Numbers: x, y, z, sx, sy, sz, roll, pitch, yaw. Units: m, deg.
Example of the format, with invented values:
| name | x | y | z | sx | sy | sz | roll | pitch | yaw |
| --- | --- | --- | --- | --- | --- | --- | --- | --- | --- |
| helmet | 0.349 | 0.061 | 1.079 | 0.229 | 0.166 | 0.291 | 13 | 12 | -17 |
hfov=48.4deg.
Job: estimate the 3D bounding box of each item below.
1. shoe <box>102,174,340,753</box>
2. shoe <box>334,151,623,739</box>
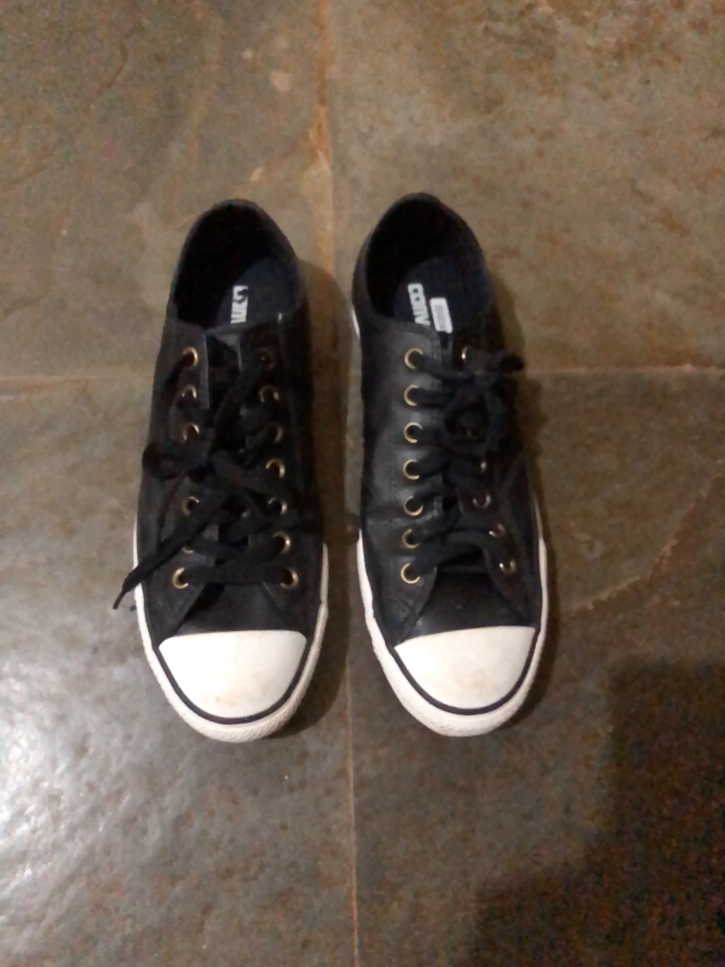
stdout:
| name | x | y | z | sx | sy | sz | roll | pitch | yaw |
| --- | --- | --- | --- | --- | --- | --- | --- | --- | --- |
| shoe | -0.072 | -0.015 | 0.425 | 0.100 | 0.080 | 0.291 | -2 | 72 | -6 |
| shoe | 0.050 | -0.026 | 0.443 | 0.110 | 0.080 | 0.311 | -2 | 72 | -6 |
